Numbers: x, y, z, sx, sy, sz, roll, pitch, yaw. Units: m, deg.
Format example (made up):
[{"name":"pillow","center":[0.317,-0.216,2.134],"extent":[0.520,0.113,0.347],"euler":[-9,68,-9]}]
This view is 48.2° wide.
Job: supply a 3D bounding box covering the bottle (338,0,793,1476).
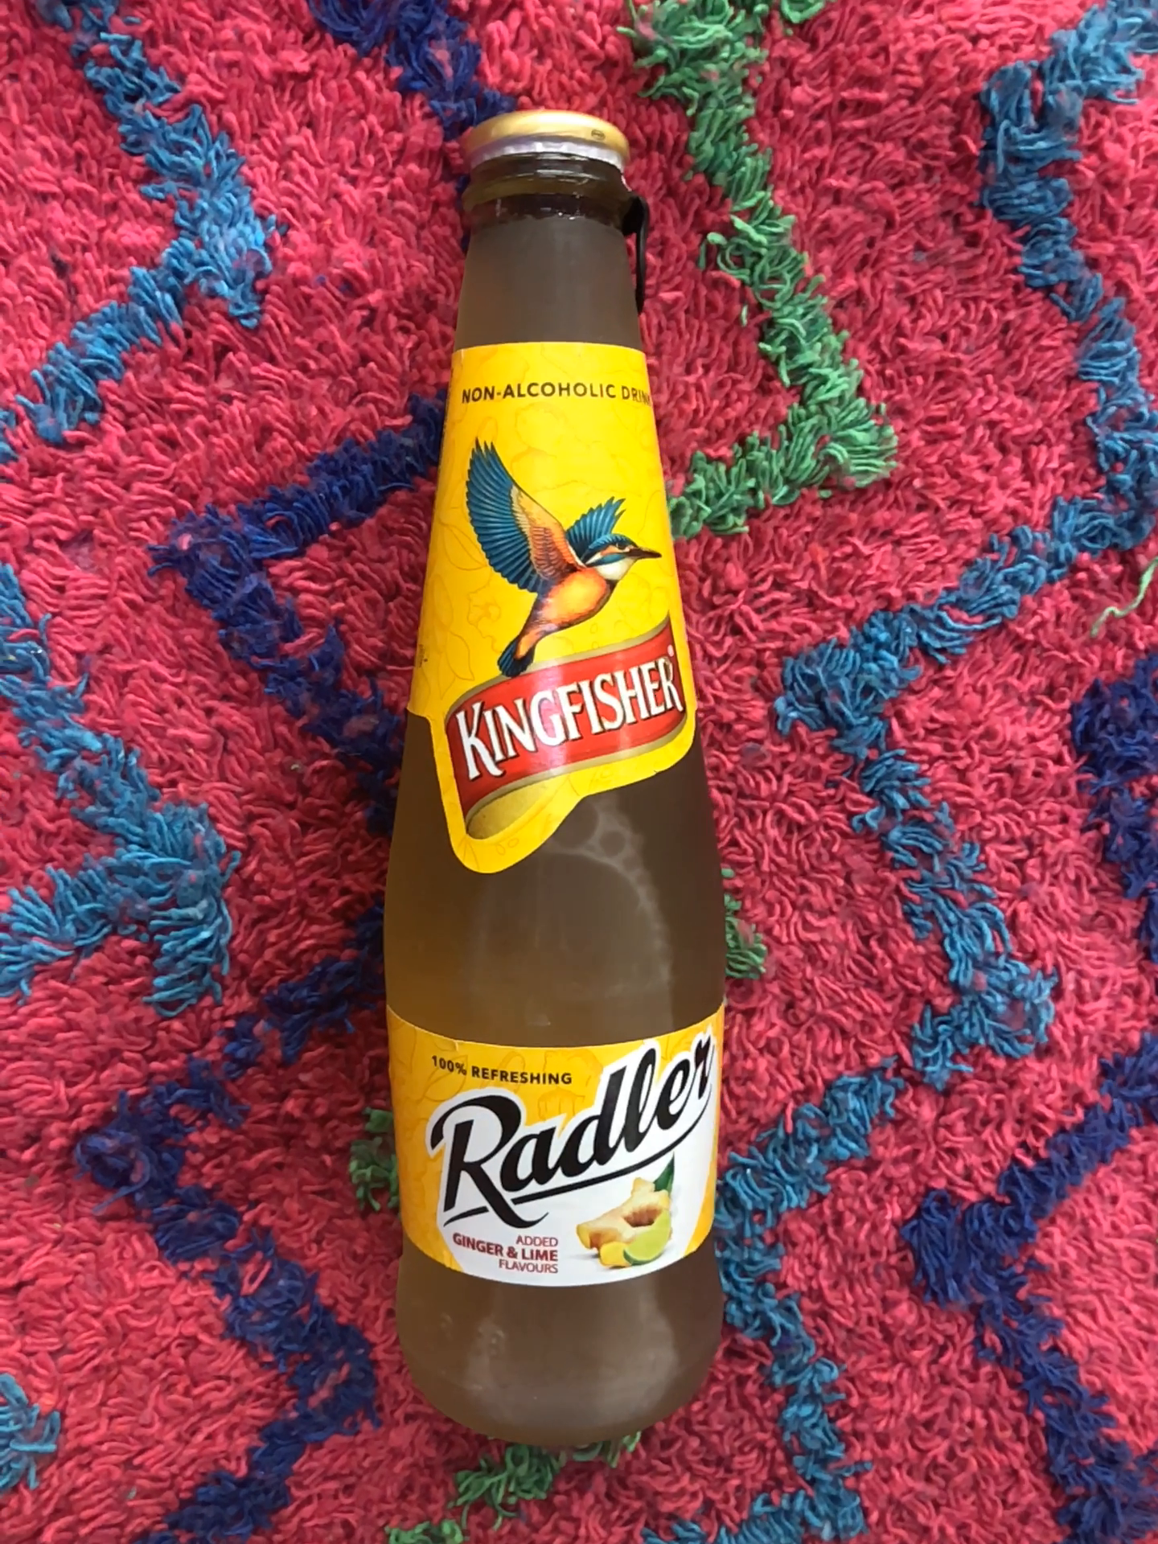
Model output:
[{"name":"bottle","center":[-0.002,-0.002,0.214],"extent":[0.060,0.060,0.210],"euler":[-1,98,-4]}]
